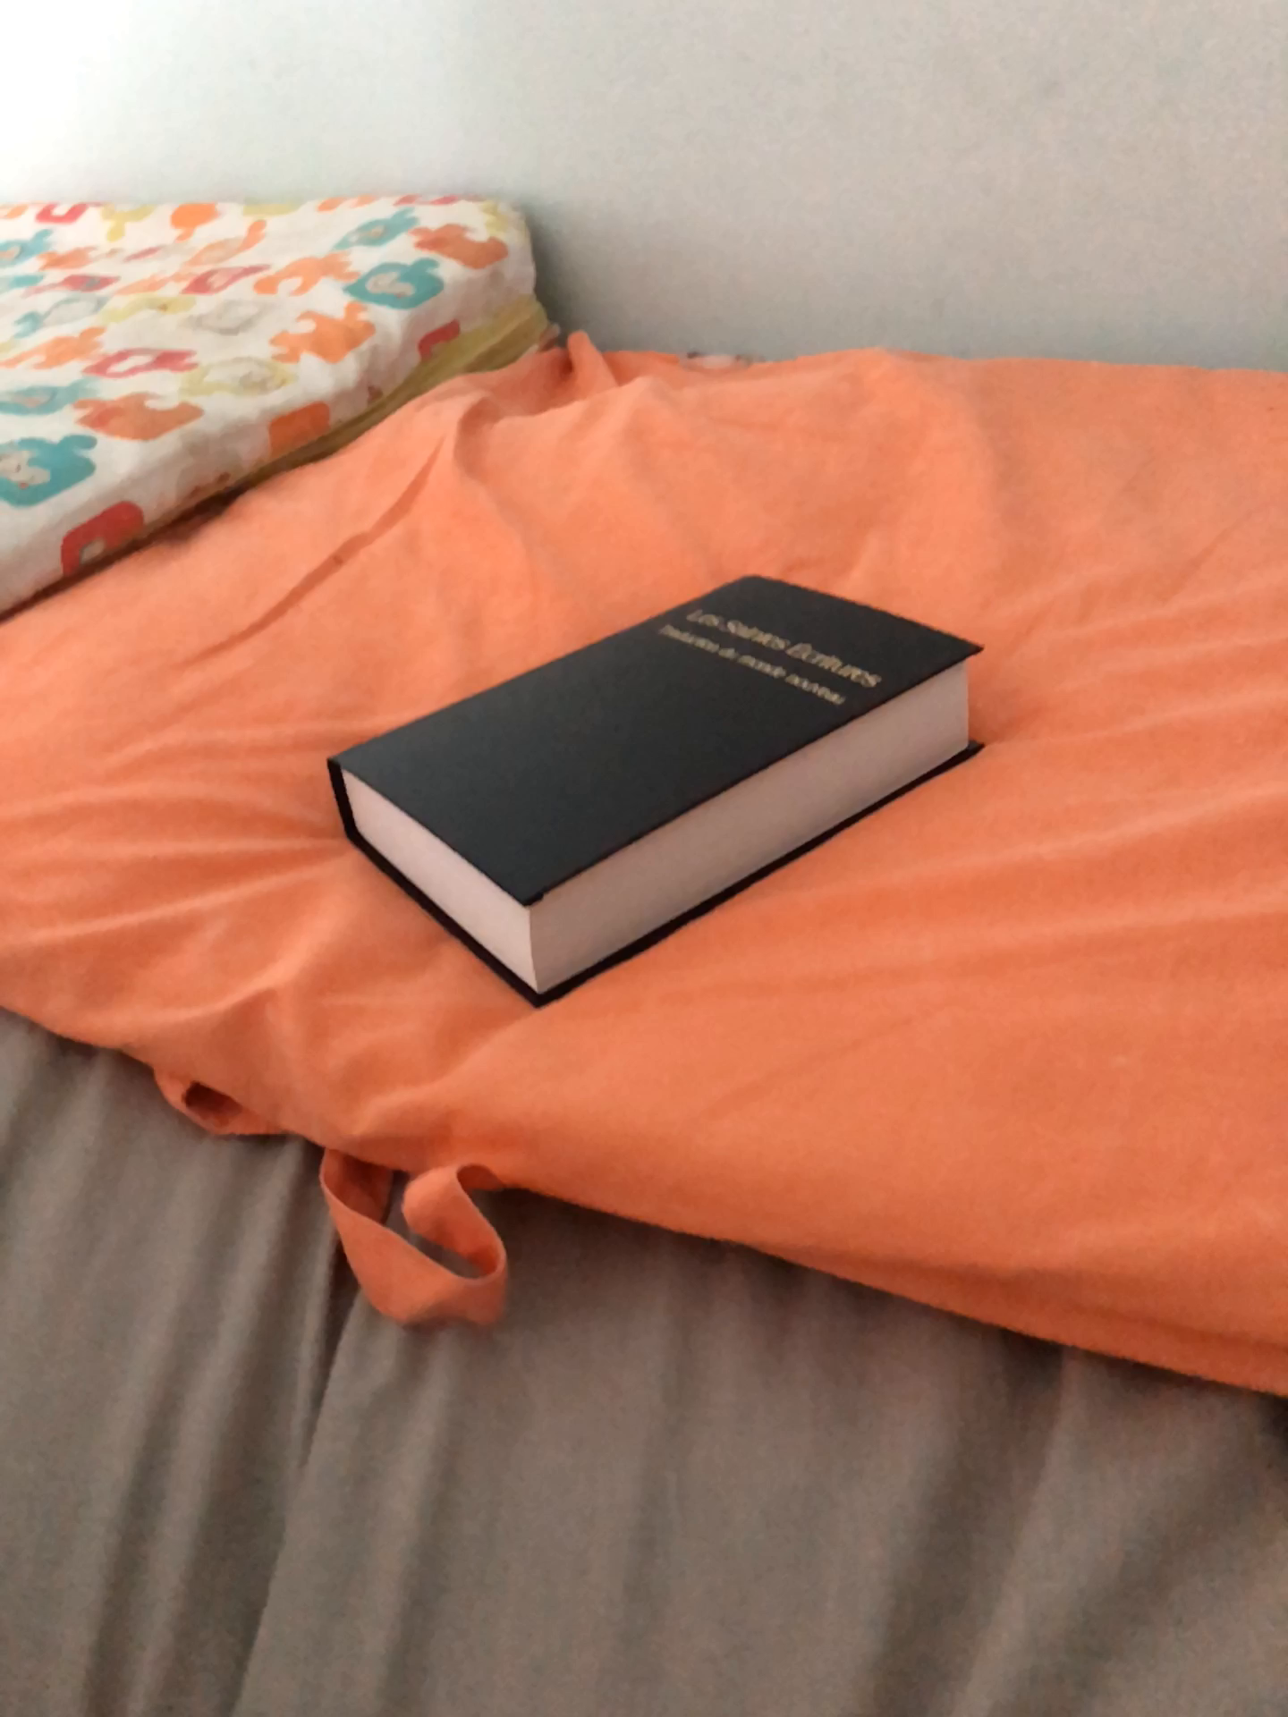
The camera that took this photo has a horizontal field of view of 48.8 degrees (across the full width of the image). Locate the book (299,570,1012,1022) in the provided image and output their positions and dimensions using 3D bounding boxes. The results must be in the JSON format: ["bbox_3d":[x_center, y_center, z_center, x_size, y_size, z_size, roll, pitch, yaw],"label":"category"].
[{"bbox_3d":[0.002,-0.031,0.430,0.174,0.030,0.127,-29,34,-24],"label":"book"}]
